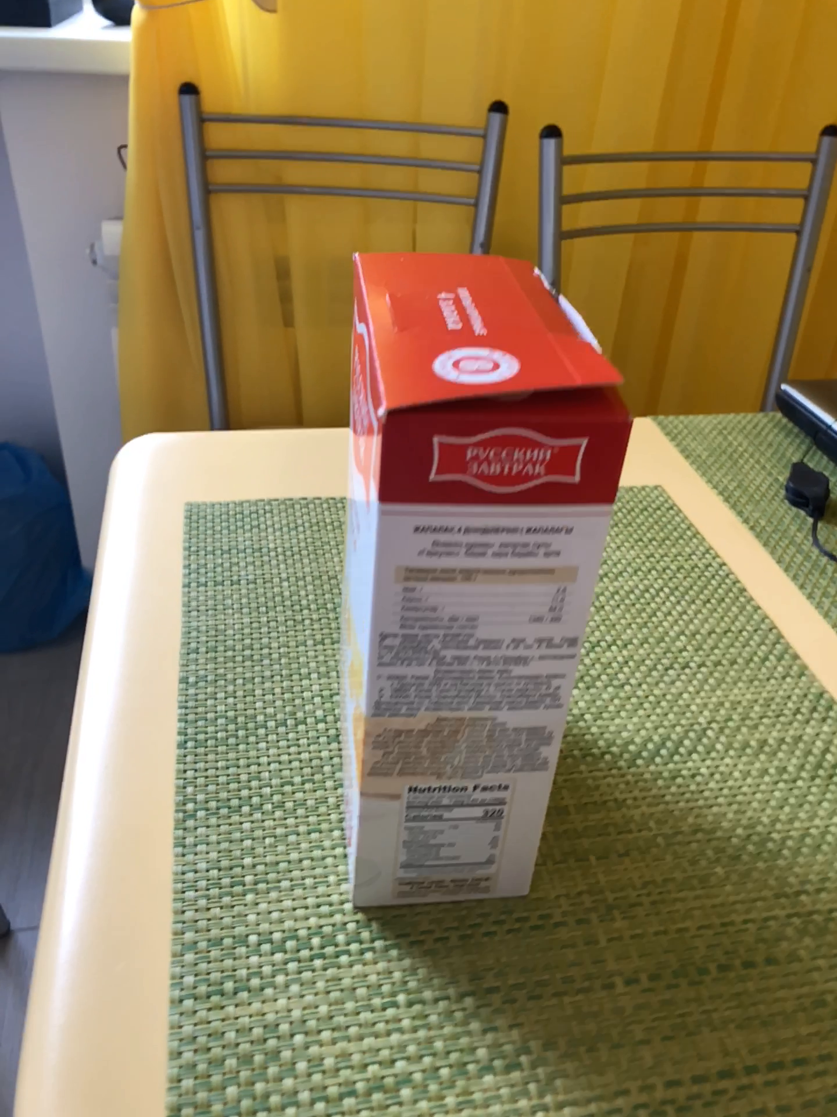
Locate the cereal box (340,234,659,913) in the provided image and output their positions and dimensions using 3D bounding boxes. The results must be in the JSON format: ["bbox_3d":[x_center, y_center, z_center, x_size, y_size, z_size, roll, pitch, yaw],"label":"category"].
[{"bbox_3d":[0.011,0.006,0.328,0.070,0.198,0.131,0,34,-7],"label":"cereal box"}]
